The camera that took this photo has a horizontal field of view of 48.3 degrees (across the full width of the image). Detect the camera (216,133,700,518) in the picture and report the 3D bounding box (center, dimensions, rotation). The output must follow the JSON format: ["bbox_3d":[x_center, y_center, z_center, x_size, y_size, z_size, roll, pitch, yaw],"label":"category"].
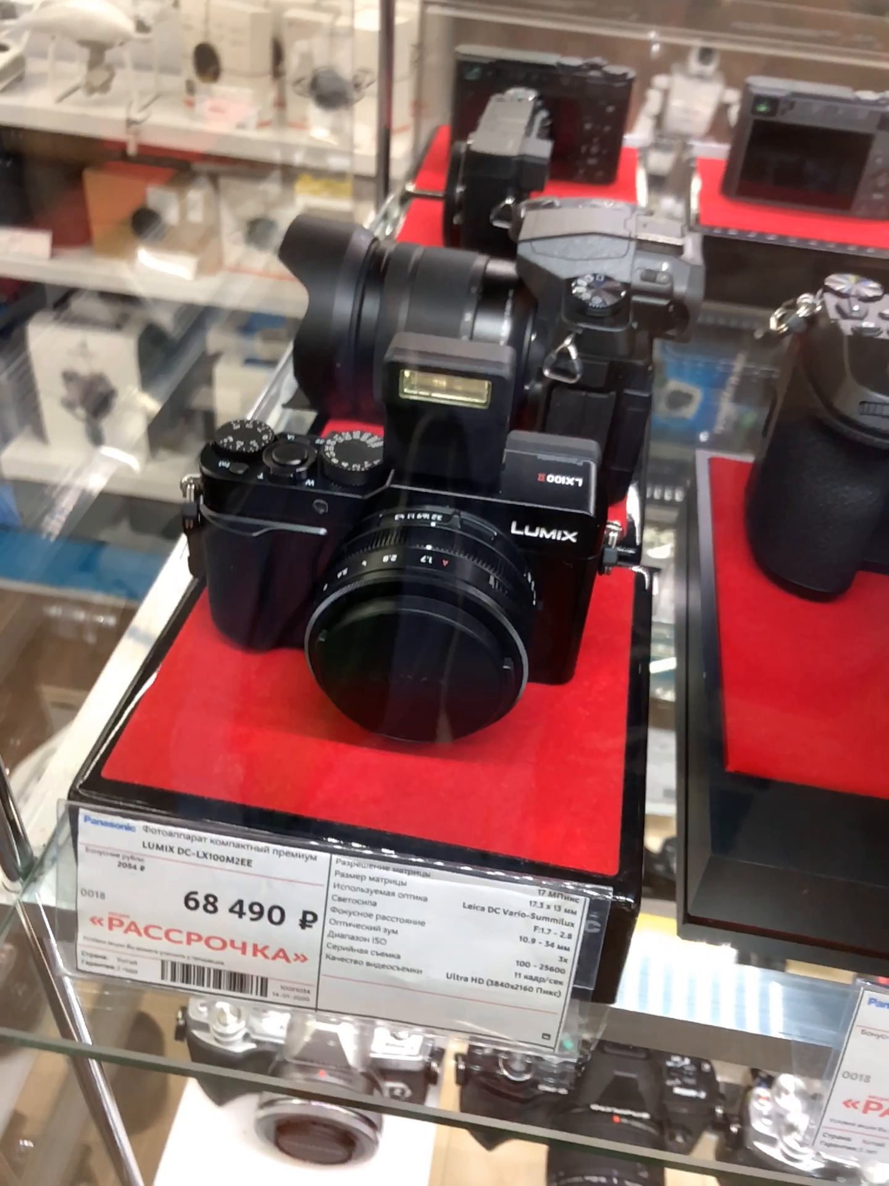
[{"bbox_3d":[0.009,-0.101,0.363,0.149,0.081,0.099,11,41,6],"label":"camera"}]

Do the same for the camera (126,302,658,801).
[{"bbox_3d":[-0.011,-0.011,0.272,0.117,0.098,0.070,9,40,4],"label":"camera"}]

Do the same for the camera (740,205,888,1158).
[{"bbox_3d":[0.195,-0.002,0.279,0.175,0.114,0.227,9,40,4],"label":"camera"}]
